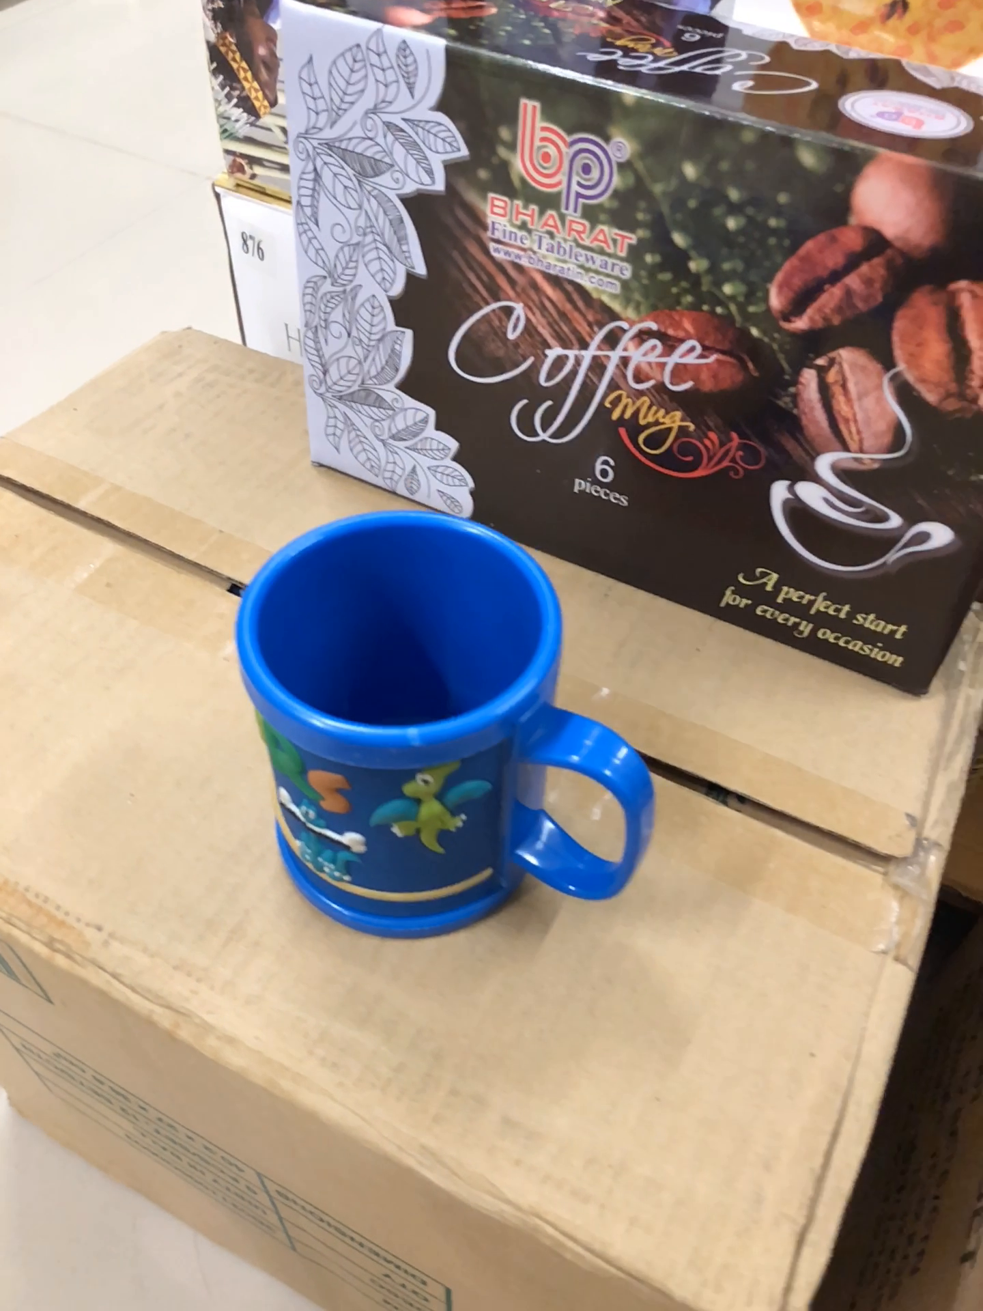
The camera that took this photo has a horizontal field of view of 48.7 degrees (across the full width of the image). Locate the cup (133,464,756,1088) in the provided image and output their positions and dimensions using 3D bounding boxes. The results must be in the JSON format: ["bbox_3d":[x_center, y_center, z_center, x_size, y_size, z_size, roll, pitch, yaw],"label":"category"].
[{"bbox_3d":[-0.011,0.029,0.295,0.120,0.089,0.091,27,53,21],"label":"cup"}]
